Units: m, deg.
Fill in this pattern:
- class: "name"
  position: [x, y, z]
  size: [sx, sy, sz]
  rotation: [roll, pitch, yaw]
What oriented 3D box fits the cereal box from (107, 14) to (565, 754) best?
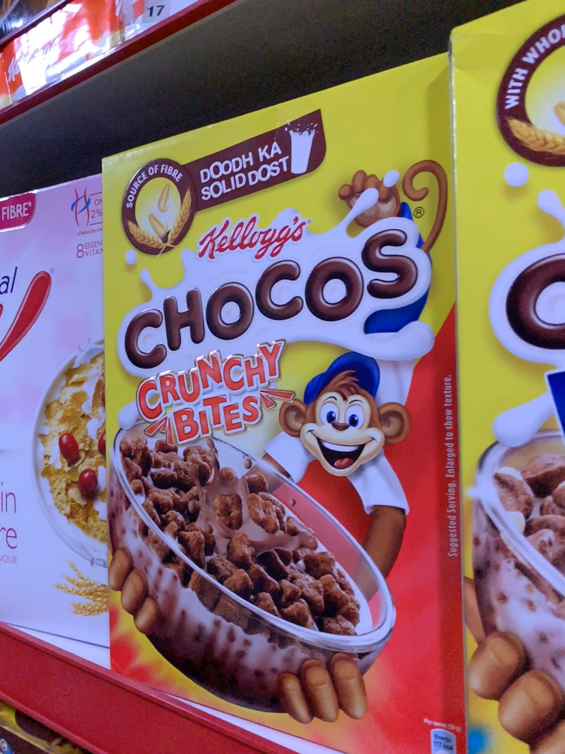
- class: "cereal box"
  position: [0.019, 0.012, 0.271]
  size: [0.190, 0.260, 0.080]
  rotation: [-2, -3, 28]
